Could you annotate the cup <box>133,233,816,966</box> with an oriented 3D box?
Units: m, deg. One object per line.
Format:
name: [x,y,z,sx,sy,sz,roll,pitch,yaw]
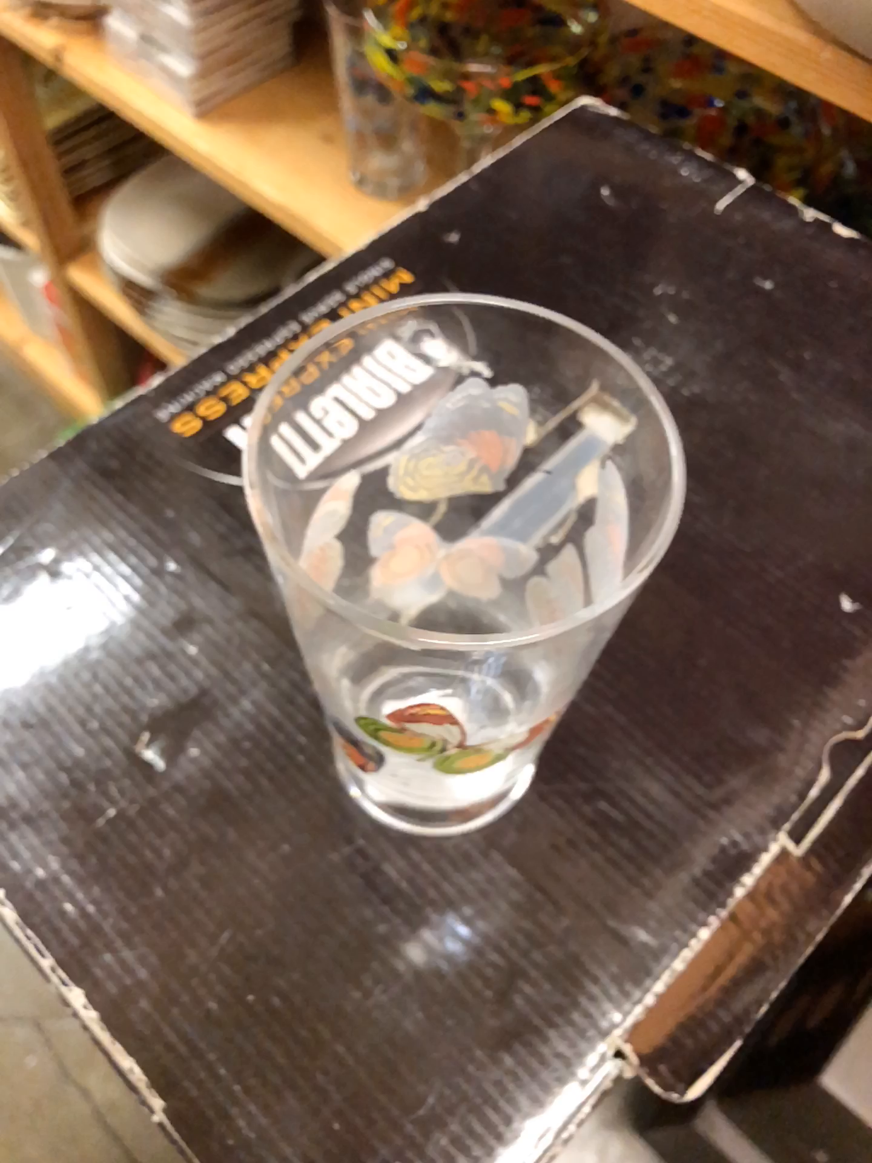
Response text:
cup: [0.005,0.013,0.211,0.079,0.125,0.075,1,59,-1]
